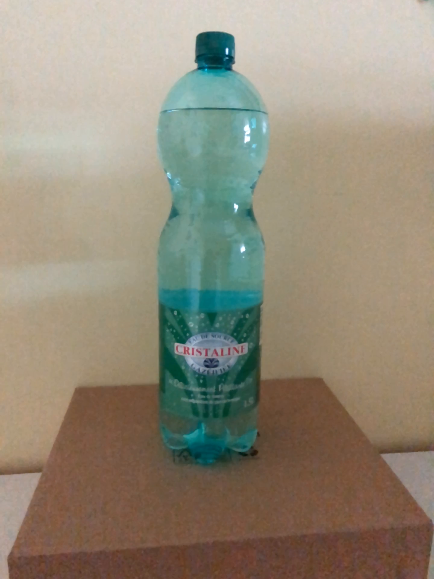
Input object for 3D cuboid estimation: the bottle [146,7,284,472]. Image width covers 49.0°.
[{"bbox_3d":[-0.003,-0.027,0.386,0.090,0.339,0.080,0,13,0],"label":"bottle"}]
